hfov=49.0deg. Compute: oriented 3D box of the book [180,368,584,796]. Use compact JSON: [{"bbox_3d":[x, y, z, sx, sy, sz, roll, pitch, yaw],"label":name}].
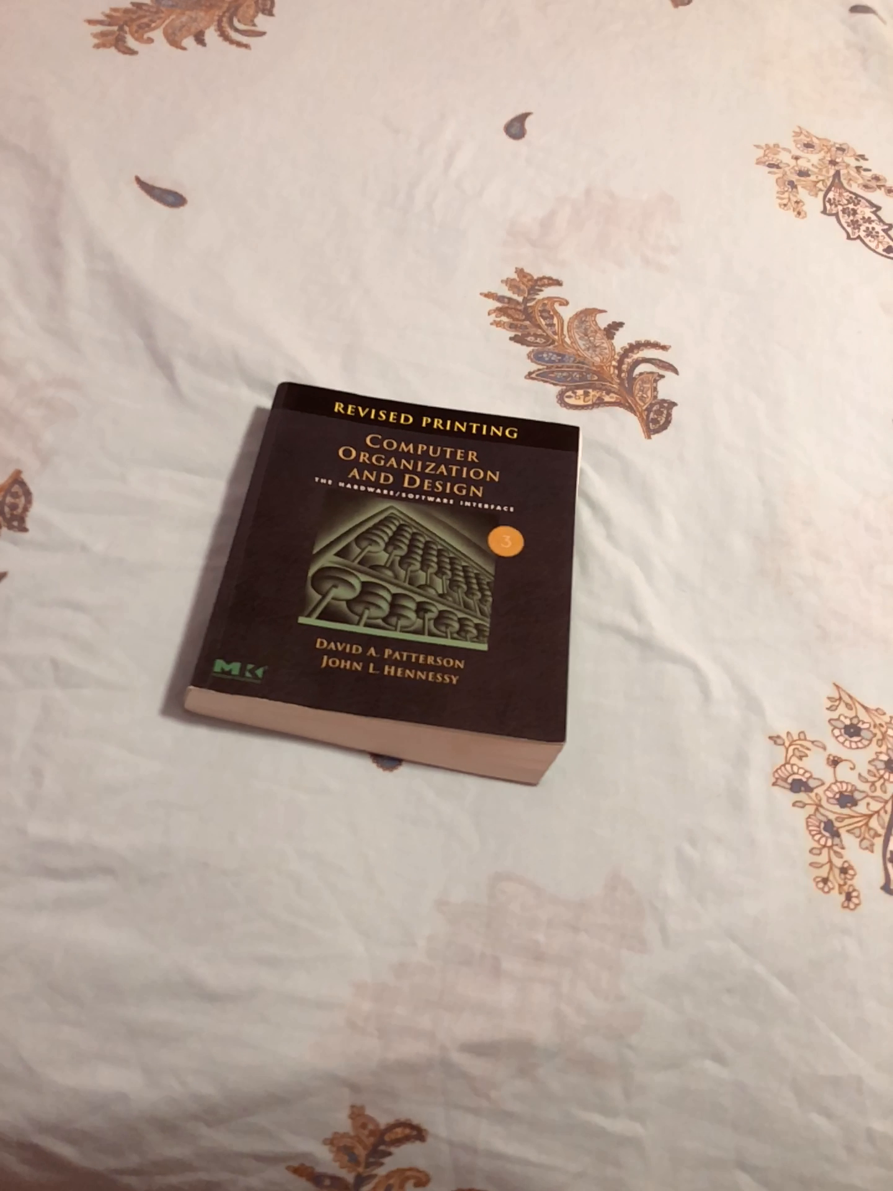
[{"bbox_3d":[-0.028,-0.014,0.593,0.201,0.073,0.226,10,57,-3],"label":"book"}]
